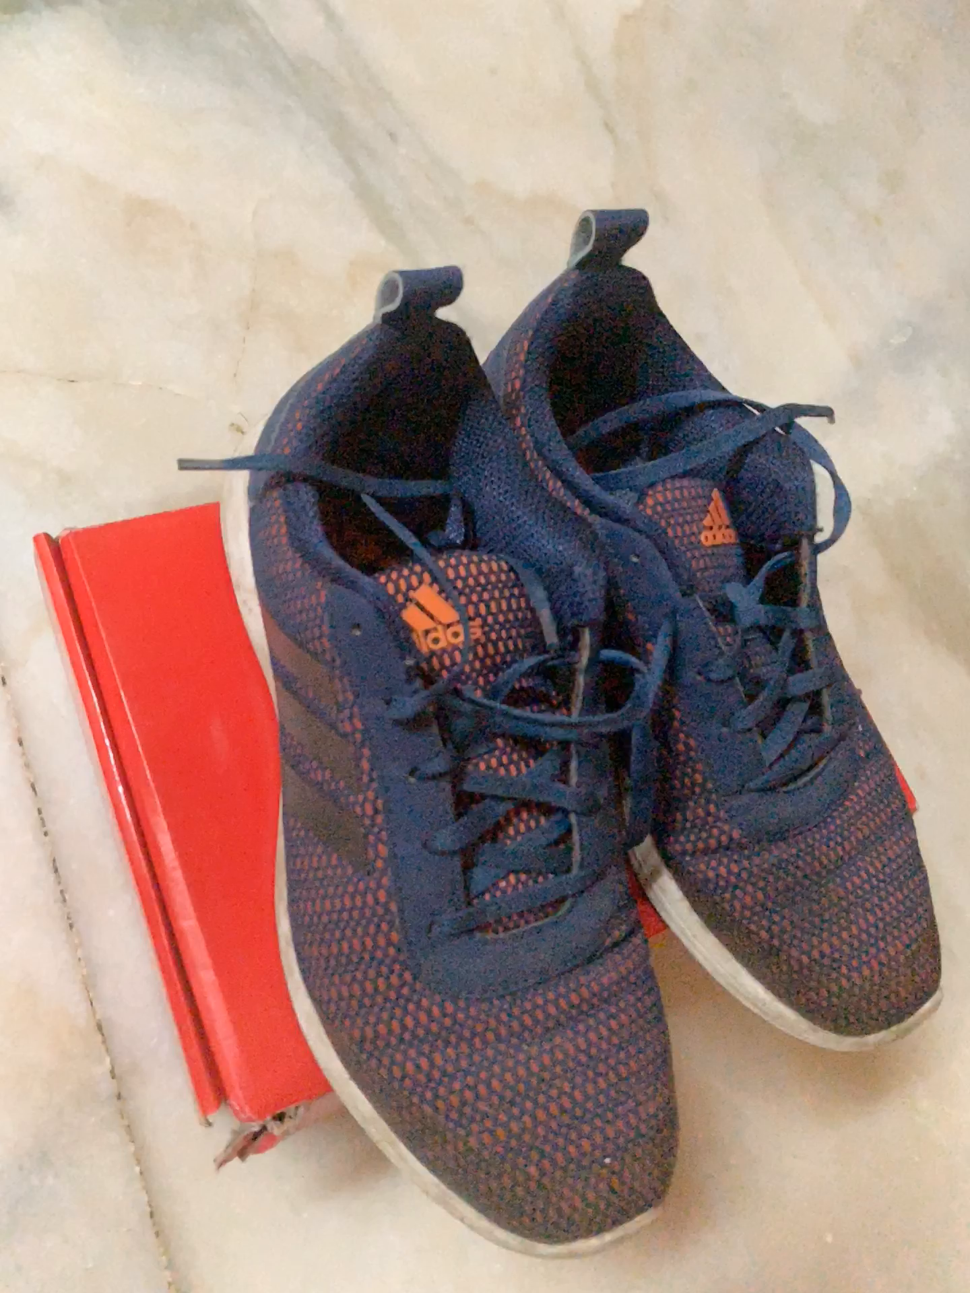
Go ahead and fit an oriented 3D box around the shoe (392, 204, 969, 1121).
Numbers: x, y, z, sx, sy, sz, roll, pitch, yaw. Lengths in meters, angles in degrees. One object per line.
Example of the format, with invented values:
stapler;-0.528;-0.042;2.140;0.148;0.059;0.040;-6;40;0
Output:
shoe;0.080;-0.005;0.337;0.100;0.080;0.280;-20;76;-26

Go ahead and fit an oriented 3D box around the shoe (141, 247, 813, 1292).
shoe;-0.024;0.029;0.320;0.100;0.100;0.301;-12;72;-24
